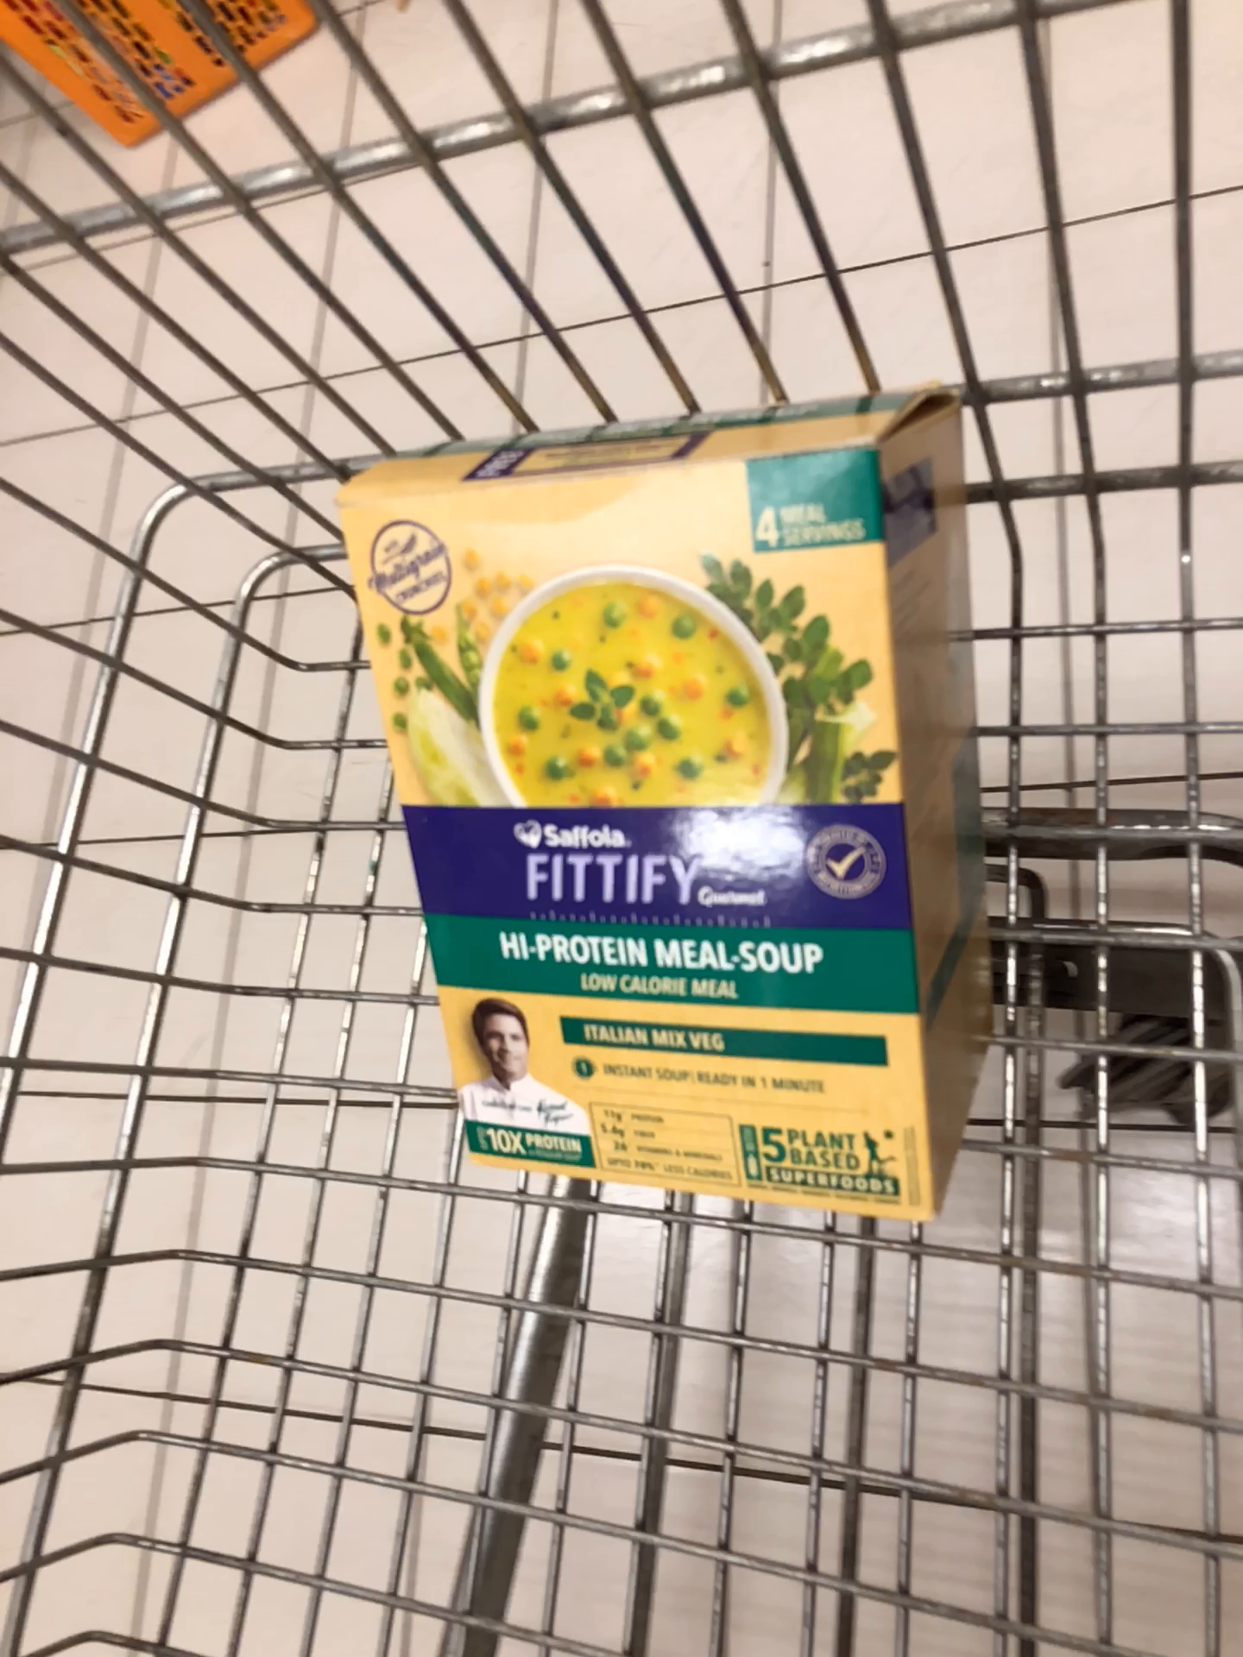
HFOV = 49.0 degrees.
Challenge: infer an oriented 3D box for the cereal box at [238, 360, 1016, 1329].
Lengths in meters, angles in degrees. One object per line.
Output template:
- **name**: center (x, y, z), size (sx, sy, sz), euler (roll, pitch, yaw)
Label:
- **cereal box**: center (0.013, -0.001, 0.307), size (0.130, 0.090, 0.180), euler (0, 110, 23)
